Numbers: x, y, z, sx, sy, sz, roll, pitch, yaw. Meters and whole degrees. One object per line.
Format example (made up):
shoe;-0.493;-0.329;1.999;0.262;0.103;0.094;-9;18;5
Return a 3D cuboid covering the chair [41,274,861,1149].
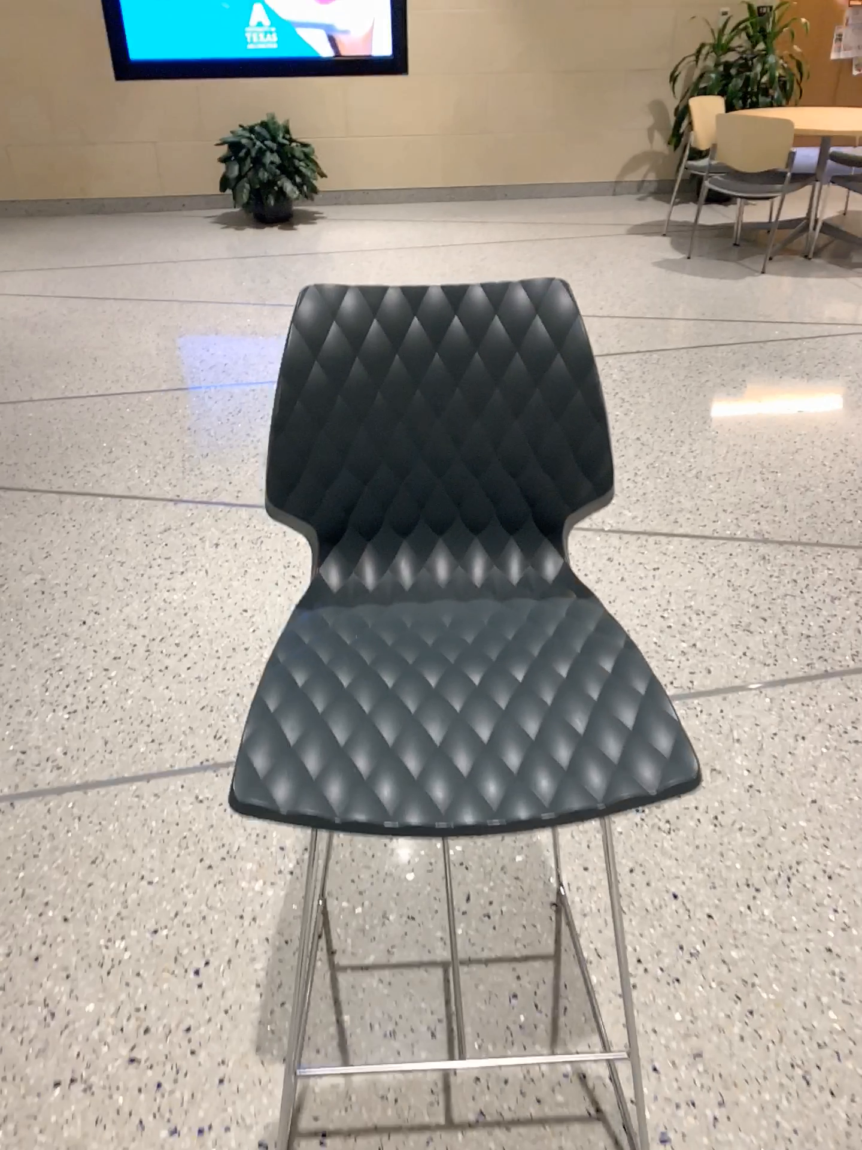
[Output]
chair;0.037;0.234;1.019;0.534;0.995;0.536;-1;32;0
